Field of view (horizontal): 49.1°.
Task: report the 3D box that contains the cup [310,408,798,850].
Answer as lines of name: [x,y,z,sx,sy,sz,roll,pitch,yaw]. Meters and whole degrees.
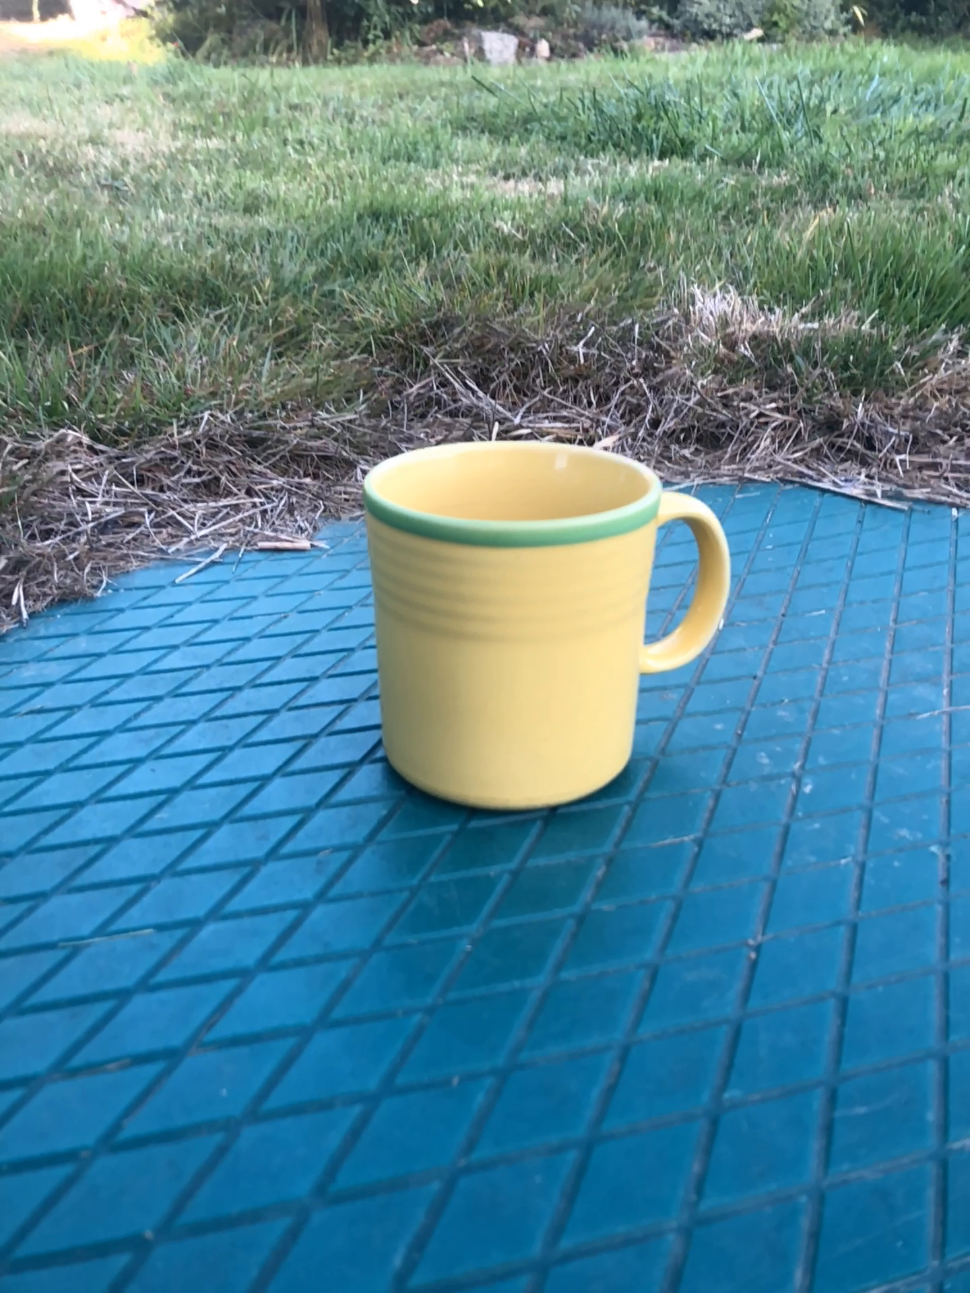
cup: [0.017,-0.013,0.325,0.115,0.090,0.086,-11,27,-19]
